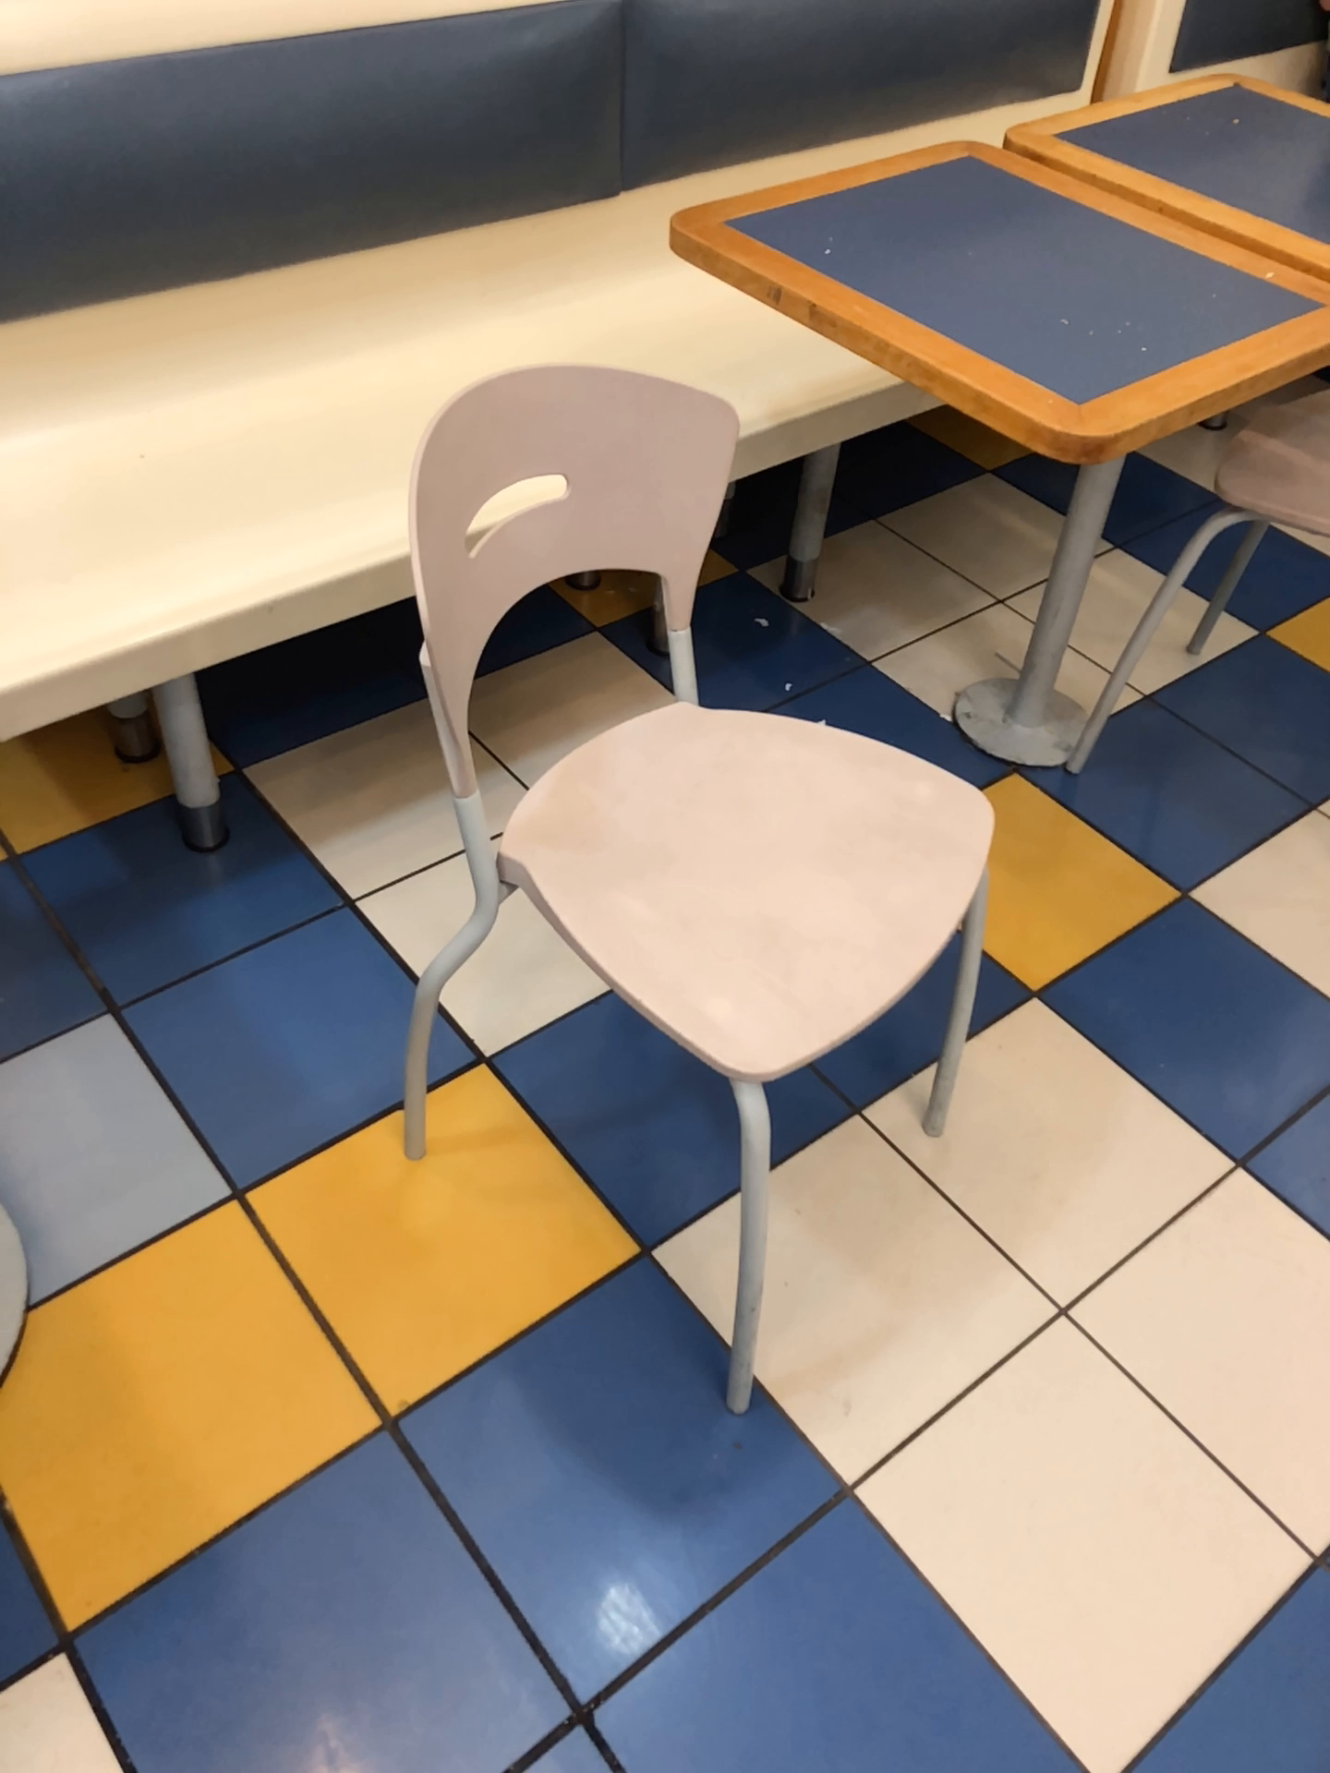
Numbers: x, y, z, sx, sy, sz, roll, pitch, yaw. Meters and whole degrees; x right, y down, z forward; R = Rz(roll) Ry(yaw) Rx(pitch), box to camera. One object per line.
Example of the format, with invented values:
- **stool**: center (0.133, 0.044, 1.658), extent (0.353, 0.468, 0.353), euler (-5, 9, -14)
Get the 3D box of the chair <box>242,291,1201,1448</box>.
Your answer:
- **chair**: center (0.027, 0.001, 1.278), extent (0.511, 0.774, 0.442), euler (29, 49, 22)
